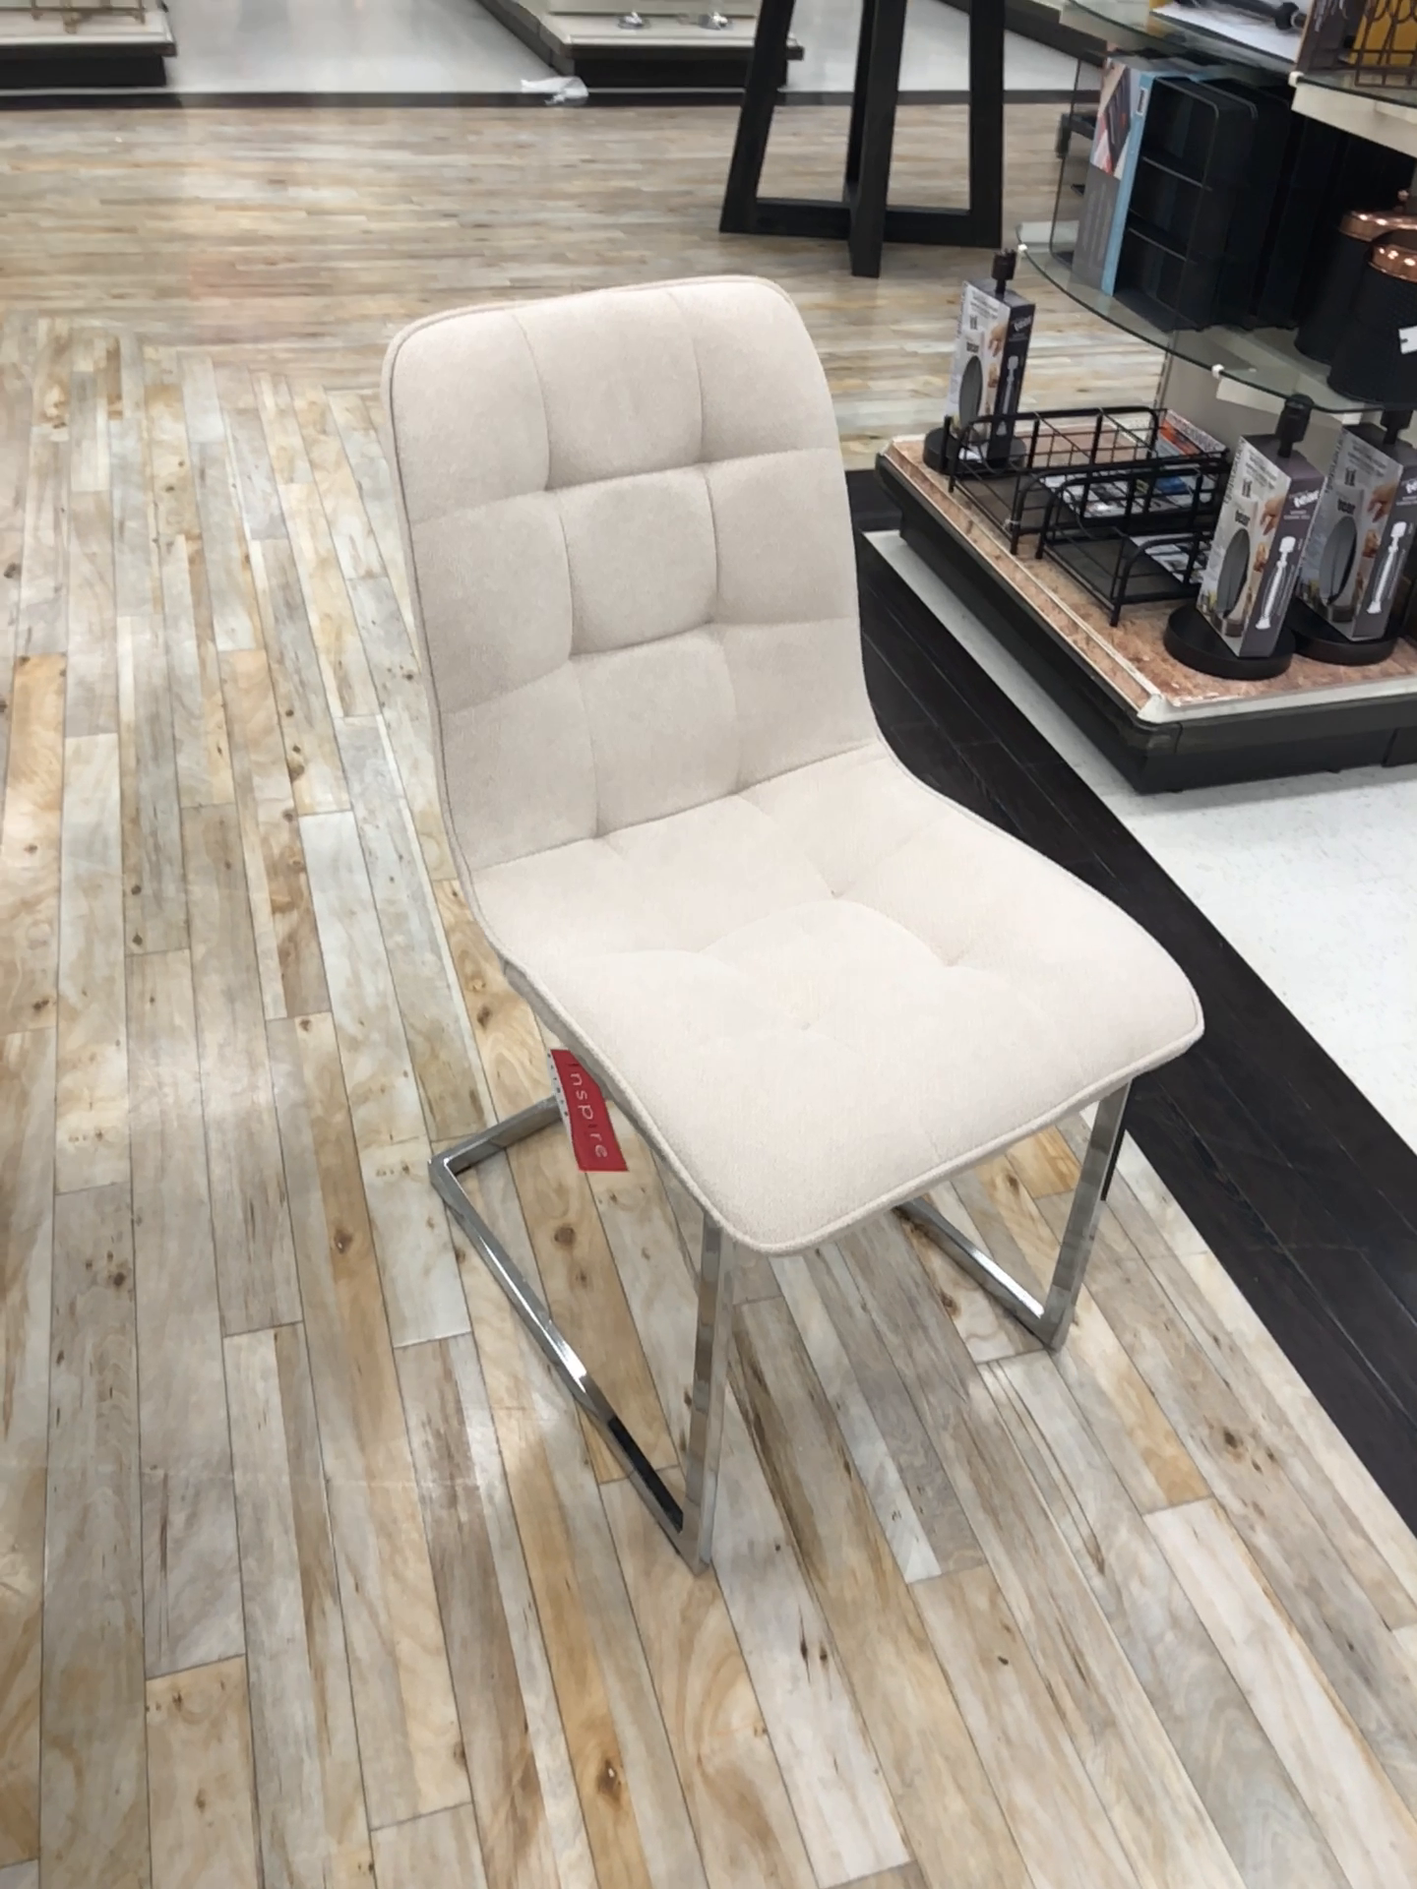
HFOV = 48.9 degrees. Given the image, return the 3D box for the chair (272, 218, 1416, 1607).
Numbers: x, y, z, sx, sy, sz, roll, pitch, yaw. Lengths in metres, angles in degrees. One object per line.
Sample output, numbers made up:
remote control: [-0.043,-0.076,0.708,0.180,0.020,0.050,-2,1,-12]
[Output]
chair: [0.044,-0.047,1.262,0.491,0.836,0.591,-21,44,-28]
